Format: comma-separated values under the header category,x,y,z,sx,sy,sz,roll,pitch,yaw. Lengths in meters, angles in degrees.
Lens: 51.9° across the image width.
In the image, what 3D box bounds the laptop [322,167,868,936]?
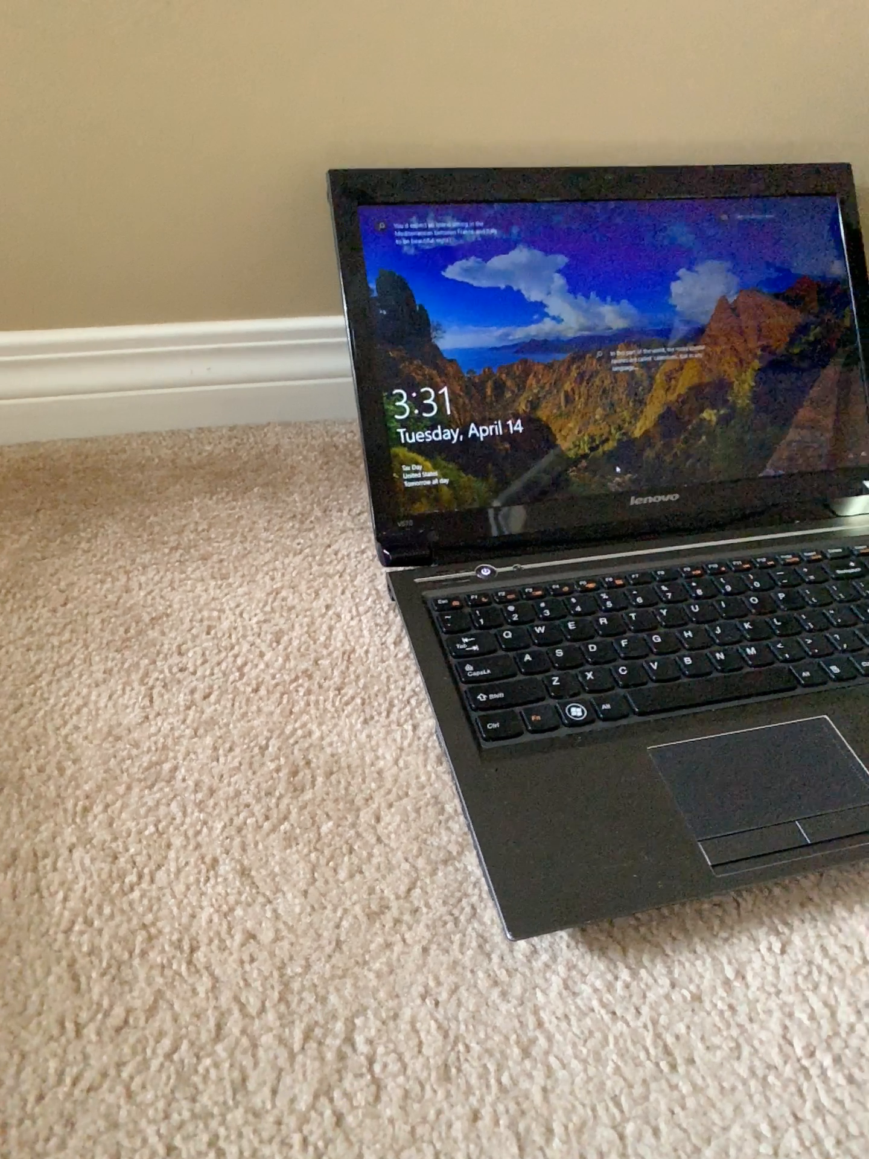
category,x,y,z,sx,sy,sz,roll,pitch,yaw
laptop,0.161,-0.075,0.492,0.372,0.167,0.412,-7,42,-15
